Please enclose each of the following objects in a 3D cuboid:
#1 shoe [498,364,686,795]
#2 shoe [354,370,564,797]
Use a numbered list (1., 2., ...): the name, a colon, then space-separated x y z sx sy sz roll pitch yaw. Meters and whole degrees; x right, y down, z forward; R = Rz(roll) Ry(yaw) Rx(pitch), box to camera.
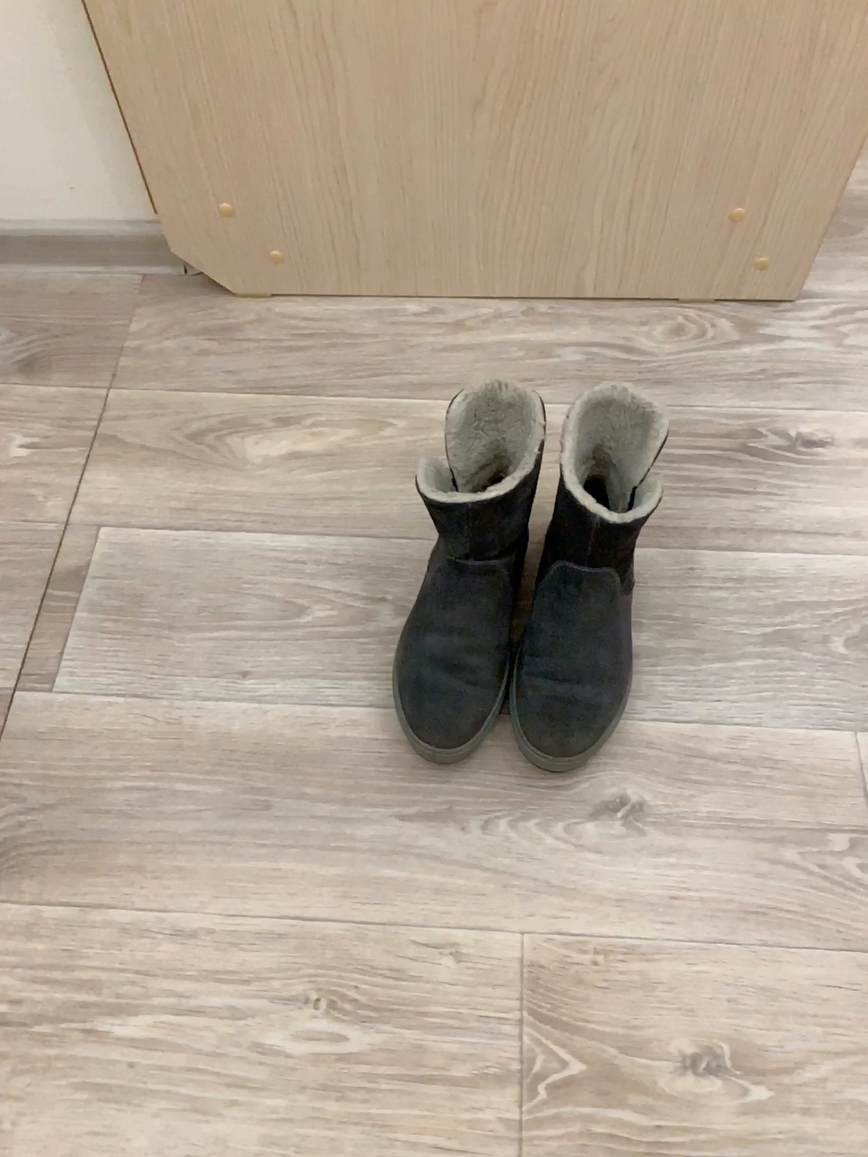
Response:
1. shoe: 0.120 0.001 0.685 0.100 0.169 0.271 8 60 6
2. shoe: 0.027 0.005 0.704 0.100 0.179 0.271 9 61 7
